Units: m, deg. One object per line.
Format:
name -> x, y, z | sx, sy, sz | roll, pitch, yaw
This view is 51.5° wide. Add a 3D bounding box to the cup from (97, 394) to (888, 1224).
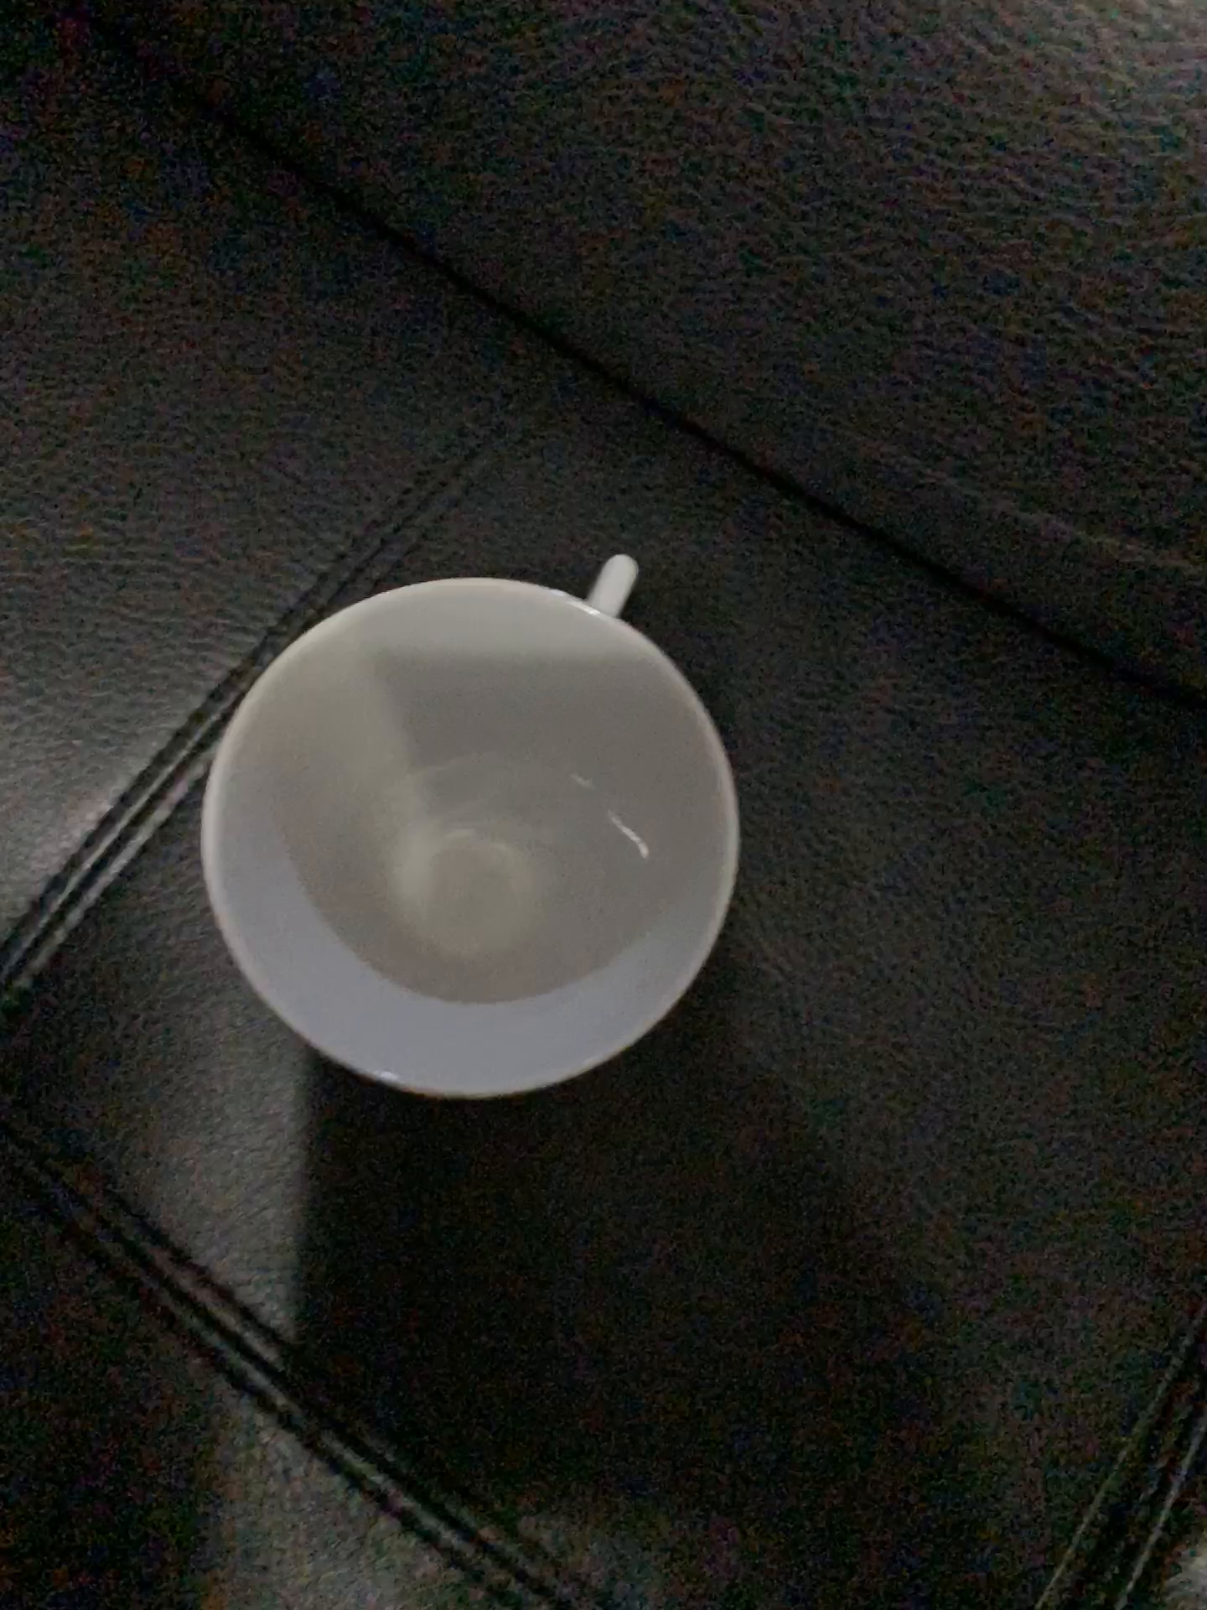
cup -> -0.017, 0.003, 0.237 | 0.093, 0.059, 0.114 | 25, 72, -3
